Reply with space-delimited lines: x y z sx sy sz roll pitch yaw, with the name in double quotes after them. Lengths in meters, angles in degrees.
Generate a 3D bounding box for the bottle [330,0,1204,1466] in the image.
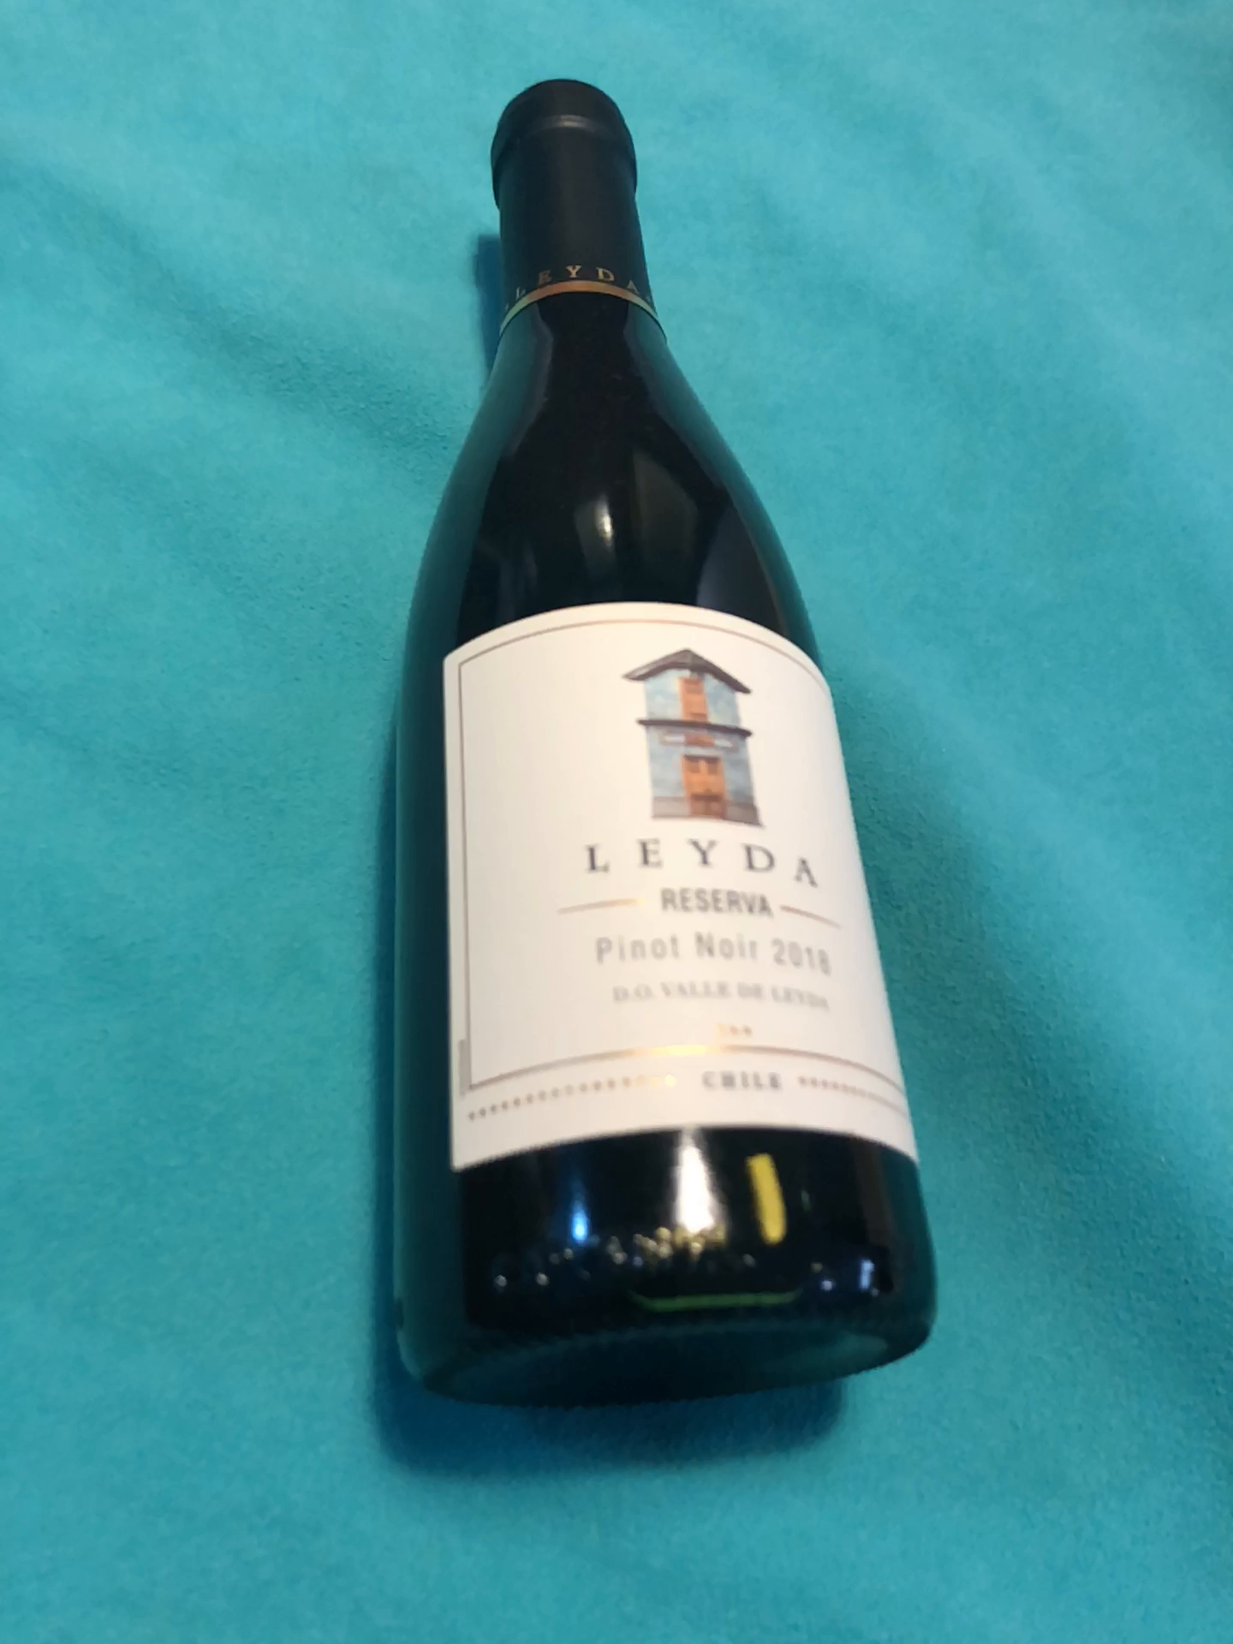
0.000 -0.053 0.202 0.070 0.080 0.261 0 62 -9 "bottle"
